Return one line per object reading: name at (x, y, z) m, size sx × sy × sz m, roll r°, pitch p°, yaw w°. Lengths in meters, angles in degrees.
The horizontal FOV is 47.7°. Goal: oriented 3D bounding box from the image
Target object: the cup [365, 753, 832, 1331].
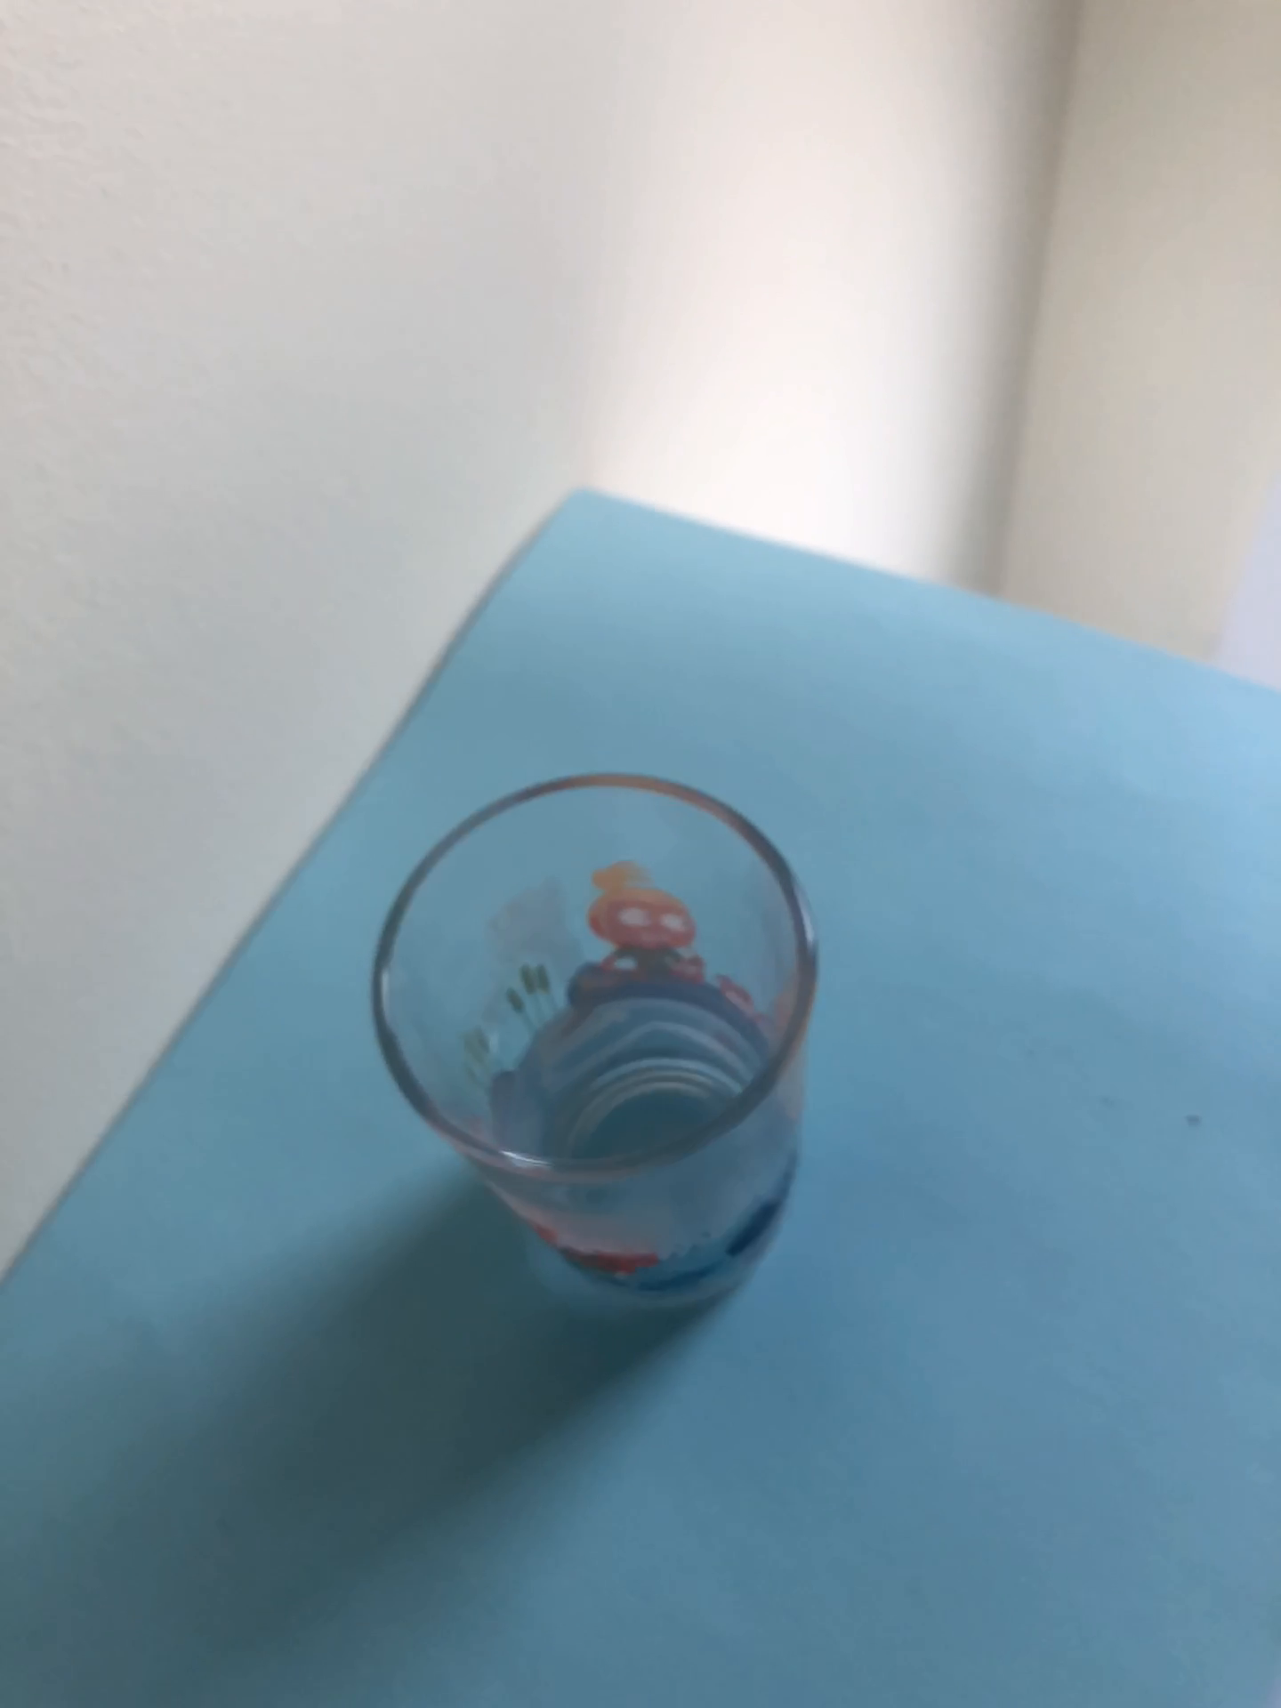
cup at (0.000, 0.038, 0.242) m, size 0.060 × 0.100 × 0.060 m, roll -3°, pitch 59°, yaw 6°
